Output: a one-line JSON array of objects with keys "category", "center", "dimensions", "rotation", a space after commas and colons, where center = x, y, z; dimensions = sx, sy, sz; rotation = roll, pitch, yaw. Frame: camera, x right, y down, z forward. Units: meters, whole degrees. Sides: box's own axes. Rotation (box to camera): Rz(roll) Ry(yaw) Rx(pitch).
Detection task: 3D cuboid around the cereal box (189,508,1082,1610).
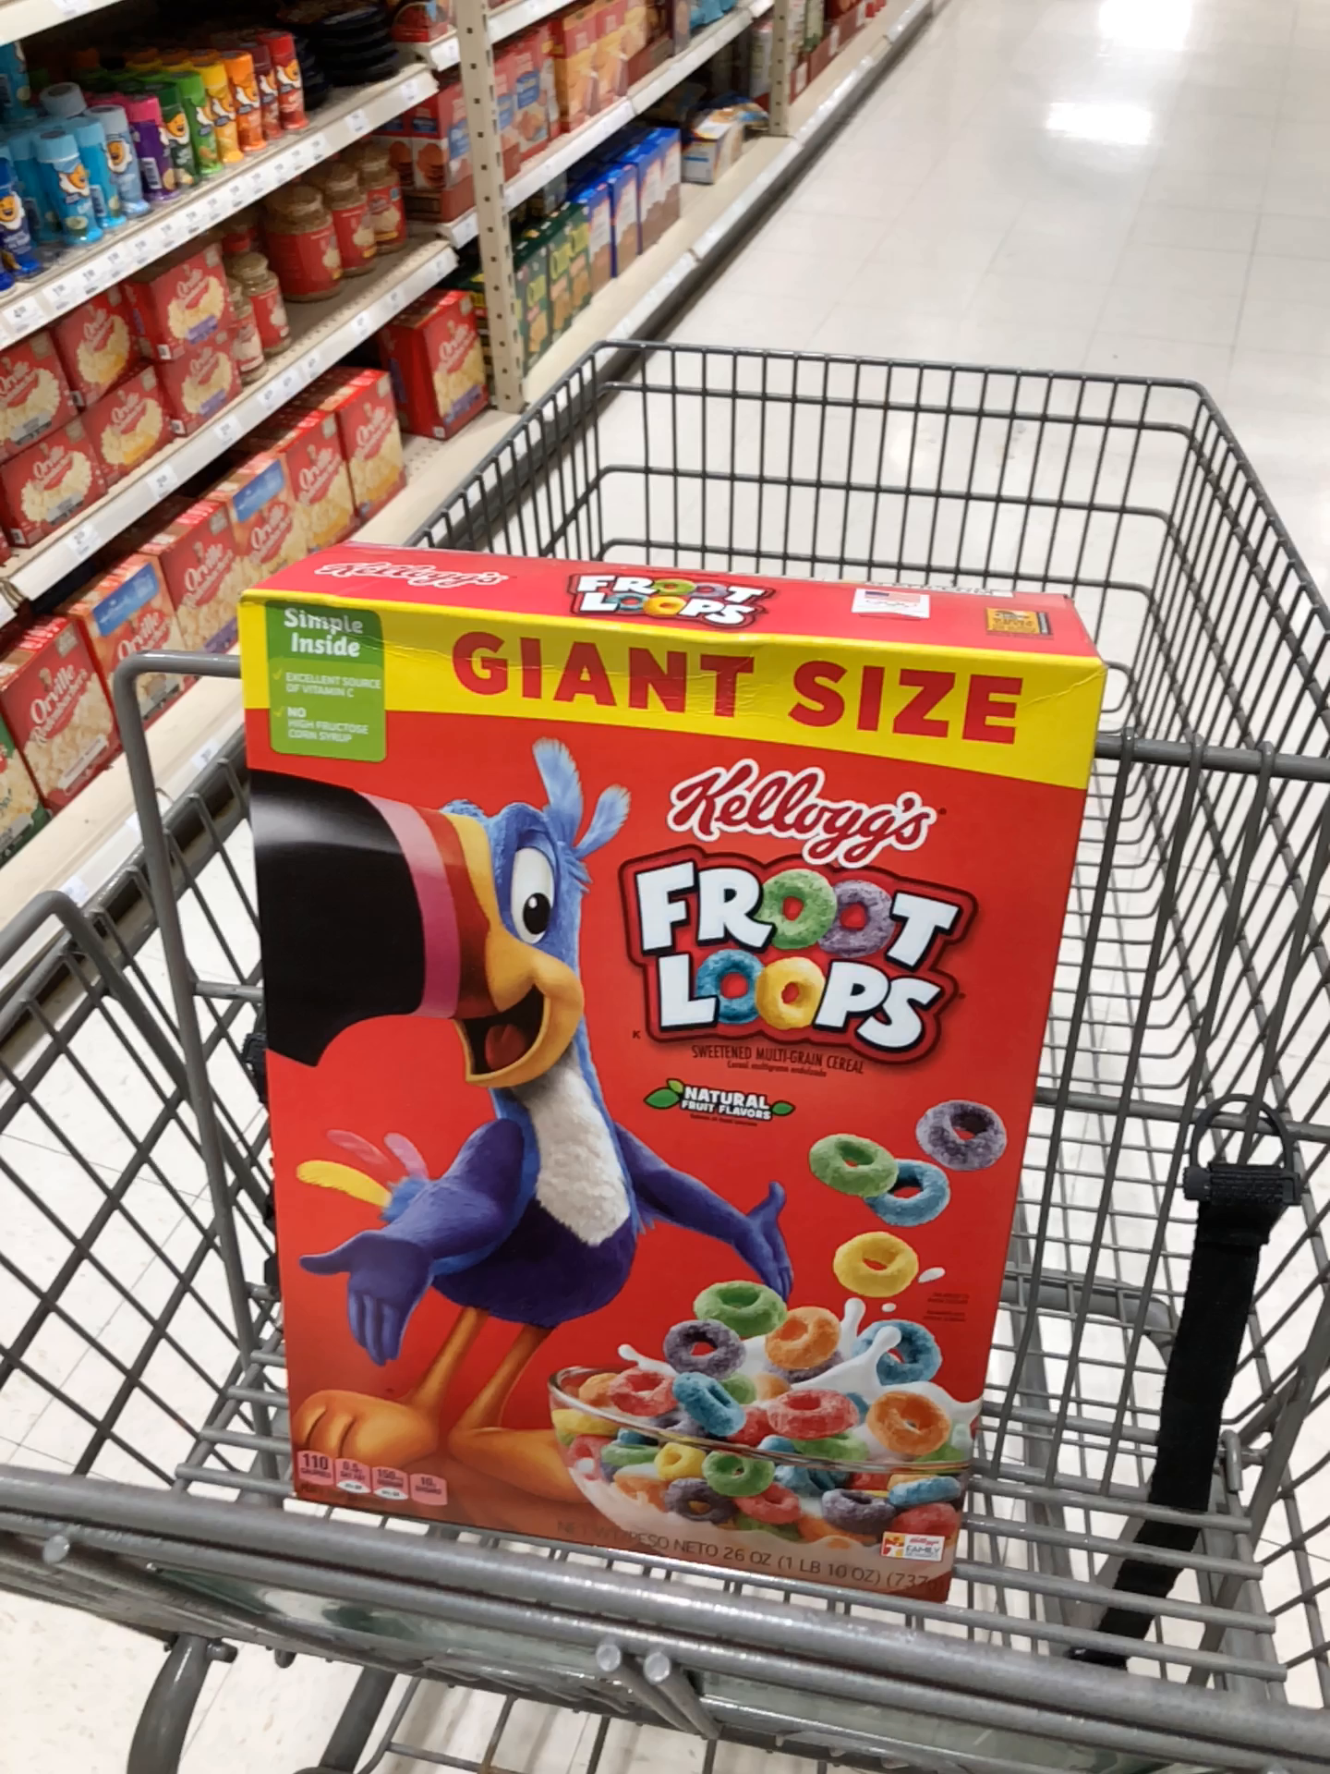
[{"category": "cereal box", "center": [-0.017, 0.067, 0.531], "dimensions": [0.260, 0.369, 0.090], "rotation": [6, 22, 7]}]
